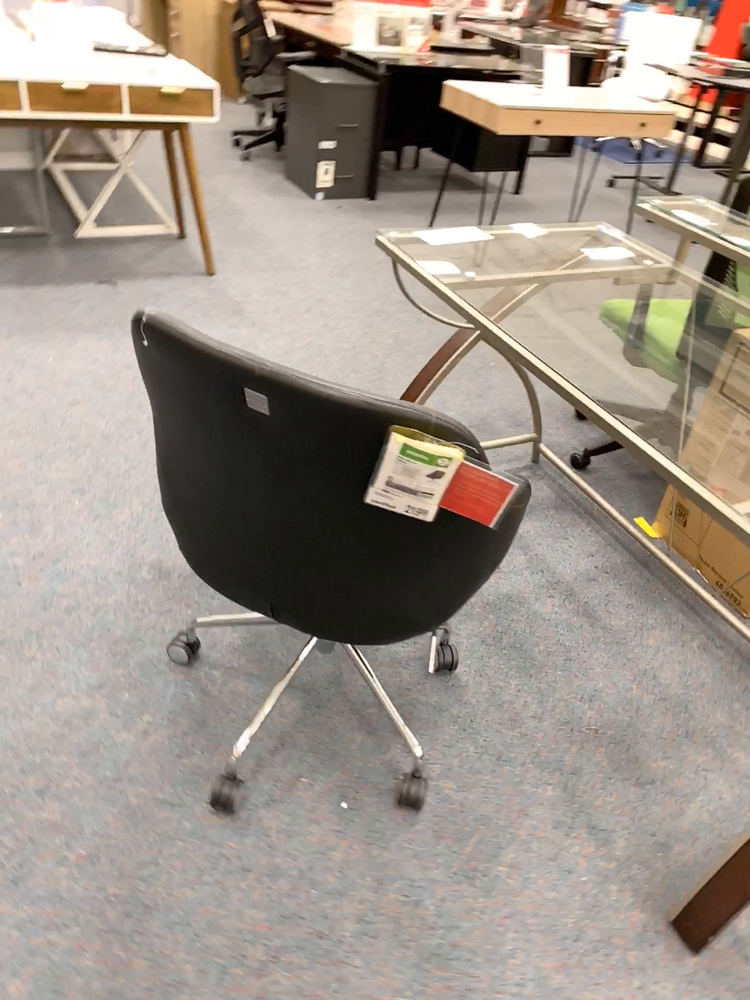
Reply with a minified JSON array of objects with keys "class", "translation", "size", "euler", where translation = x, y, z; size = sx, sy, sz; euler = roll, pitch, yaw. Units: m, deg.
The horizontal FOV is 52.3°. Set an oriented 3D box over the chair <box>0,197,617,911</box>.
[{"class":"chair","translation":[-0.086,0.053,1.319],"size":[0.657,0.844,0.657],"euler":[20,38,15]}]
